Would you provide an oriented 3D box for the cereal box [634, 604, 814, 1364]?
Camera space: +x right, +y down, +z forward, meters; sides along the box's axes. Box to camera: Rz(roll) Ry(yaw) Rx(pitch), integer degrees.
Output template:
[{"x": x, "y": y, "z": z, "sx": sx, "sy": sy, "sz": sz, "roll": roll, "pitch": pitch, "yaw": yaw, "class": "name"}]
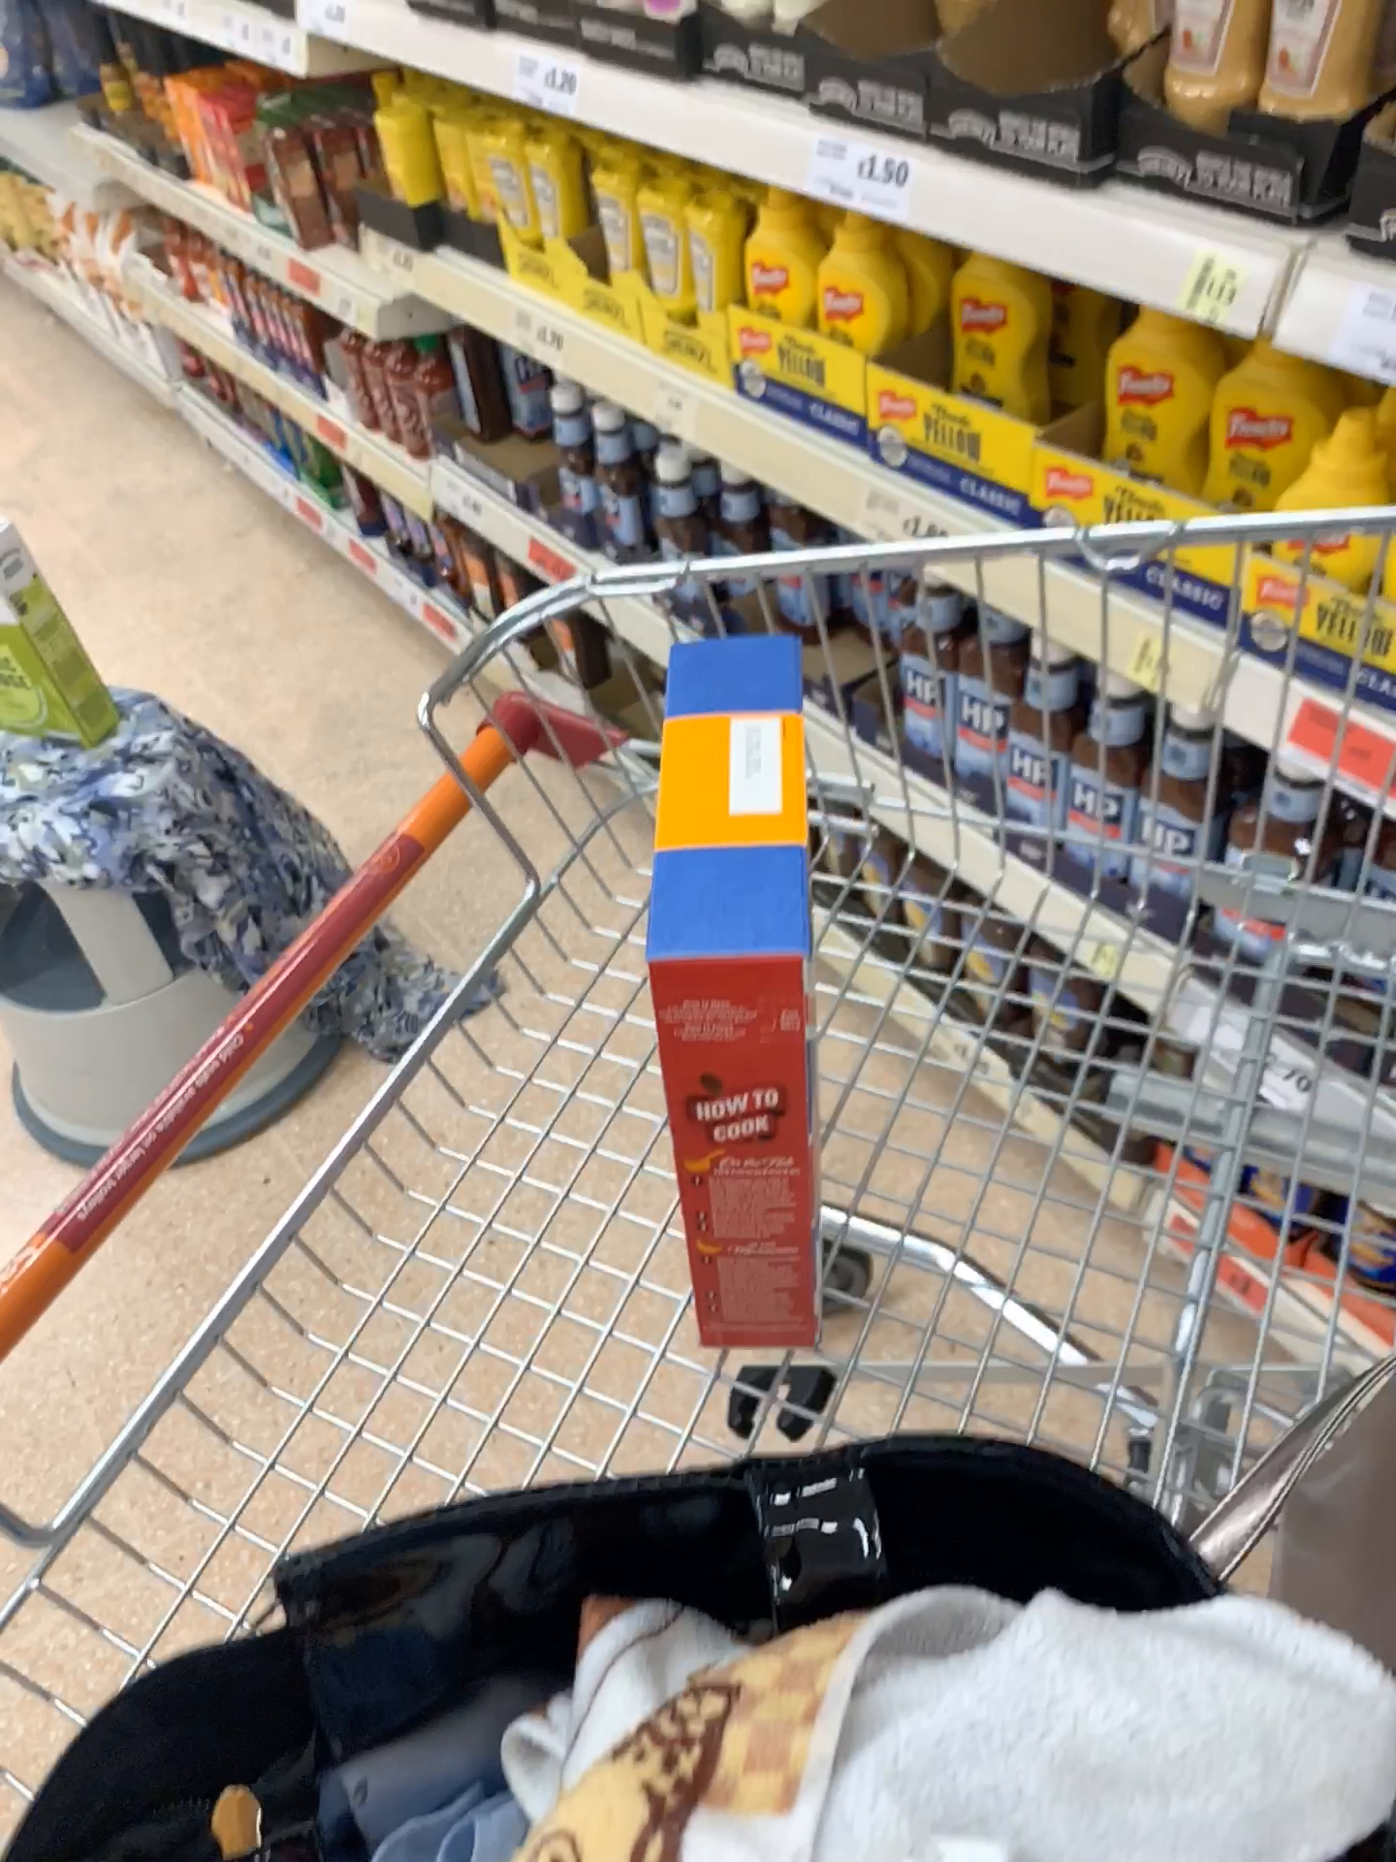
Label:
[{"x": 0.018, "y": 0.029, "z": 0.585, "sx": 0.050, "sy": 0.258, "sz": 0.182, "roll": -2, "pitch": 45, "yaw": 4, "class": "cereal box"}]
